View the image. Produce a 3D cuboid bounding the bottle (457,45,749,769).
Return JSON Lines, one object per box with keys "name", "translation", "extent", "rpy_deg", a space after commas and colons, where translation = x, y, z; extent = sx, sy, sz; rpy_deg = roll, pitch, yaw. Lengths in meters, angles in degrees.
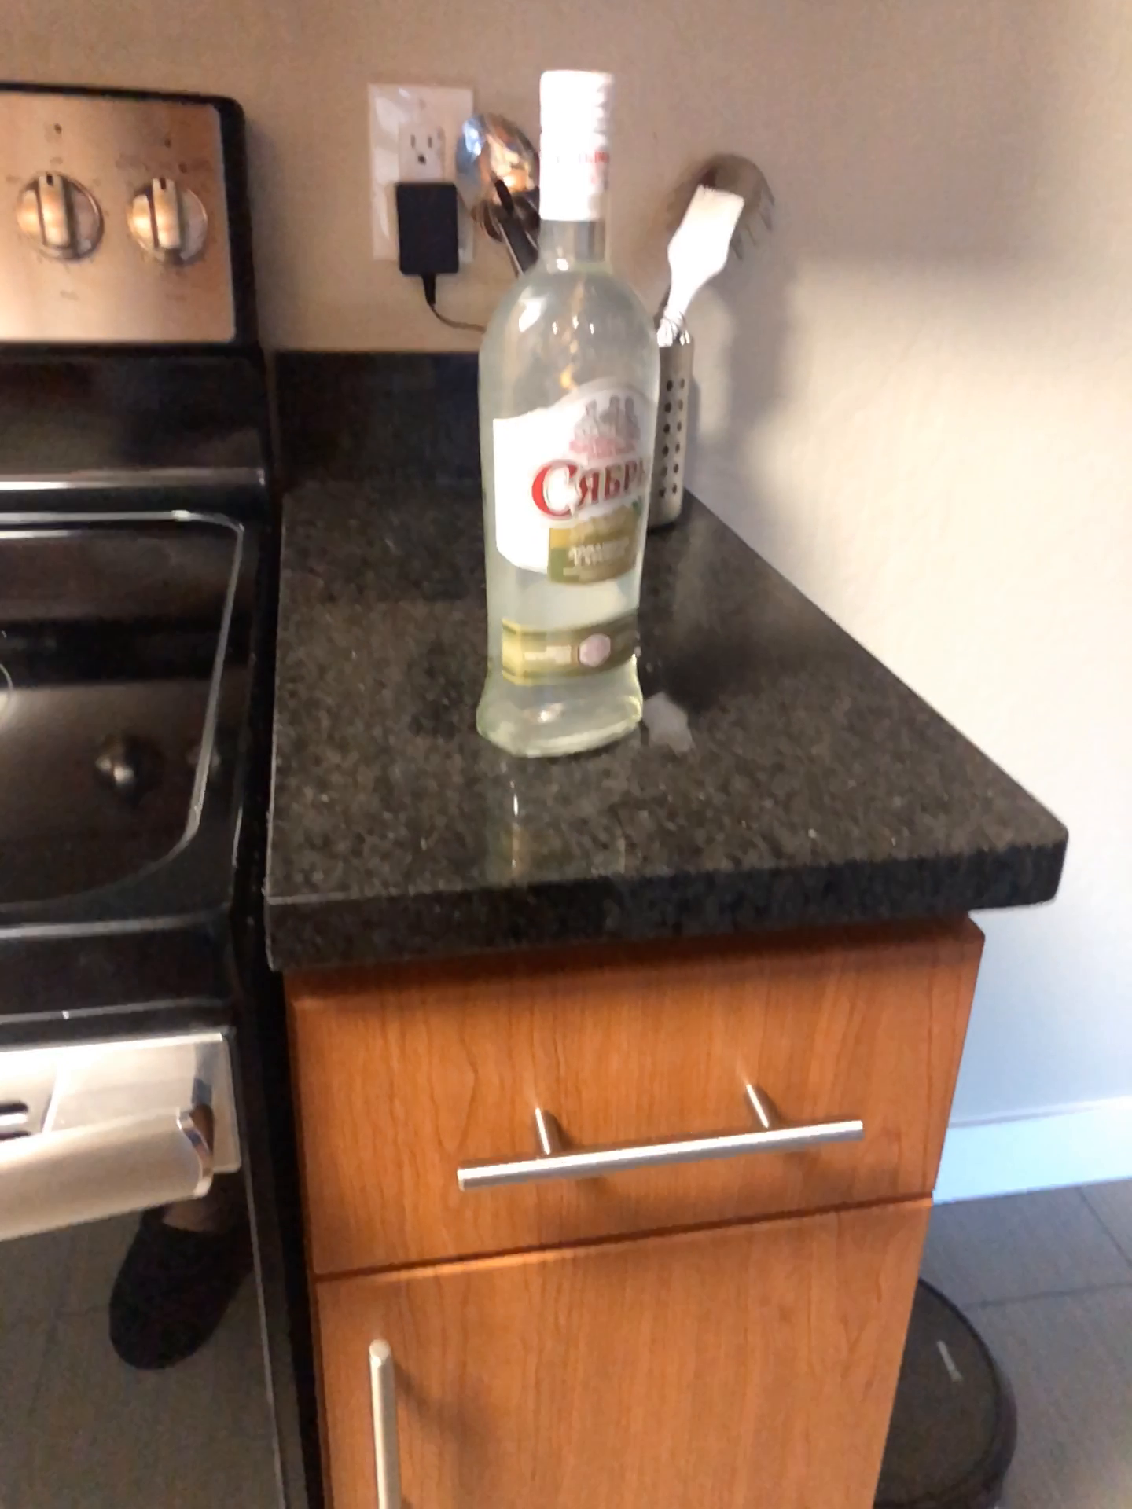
{"name": "bottle", "translation": [0.009, -0.136, 0.519], "extent": [0.090, 0.269, 0.060], "rpy_deg": [-12, 28, -29]}
